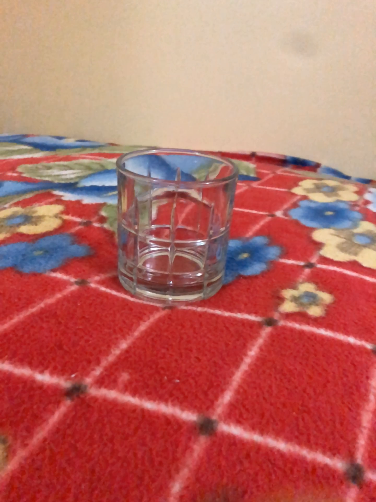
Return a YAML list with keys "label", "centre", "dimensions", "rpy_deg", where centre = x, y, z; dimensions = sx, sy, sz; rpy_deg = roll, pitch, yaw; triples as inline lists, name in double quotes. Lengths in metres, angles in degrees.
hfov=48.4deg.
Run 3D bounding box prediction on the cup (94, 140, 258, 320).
- label: "cup"
  centre: [-0.005, -0.020, 0.288]
  dimensions: [0.084, 0.088, 0.084]
  rpy_deg: [3, 25, -1]
